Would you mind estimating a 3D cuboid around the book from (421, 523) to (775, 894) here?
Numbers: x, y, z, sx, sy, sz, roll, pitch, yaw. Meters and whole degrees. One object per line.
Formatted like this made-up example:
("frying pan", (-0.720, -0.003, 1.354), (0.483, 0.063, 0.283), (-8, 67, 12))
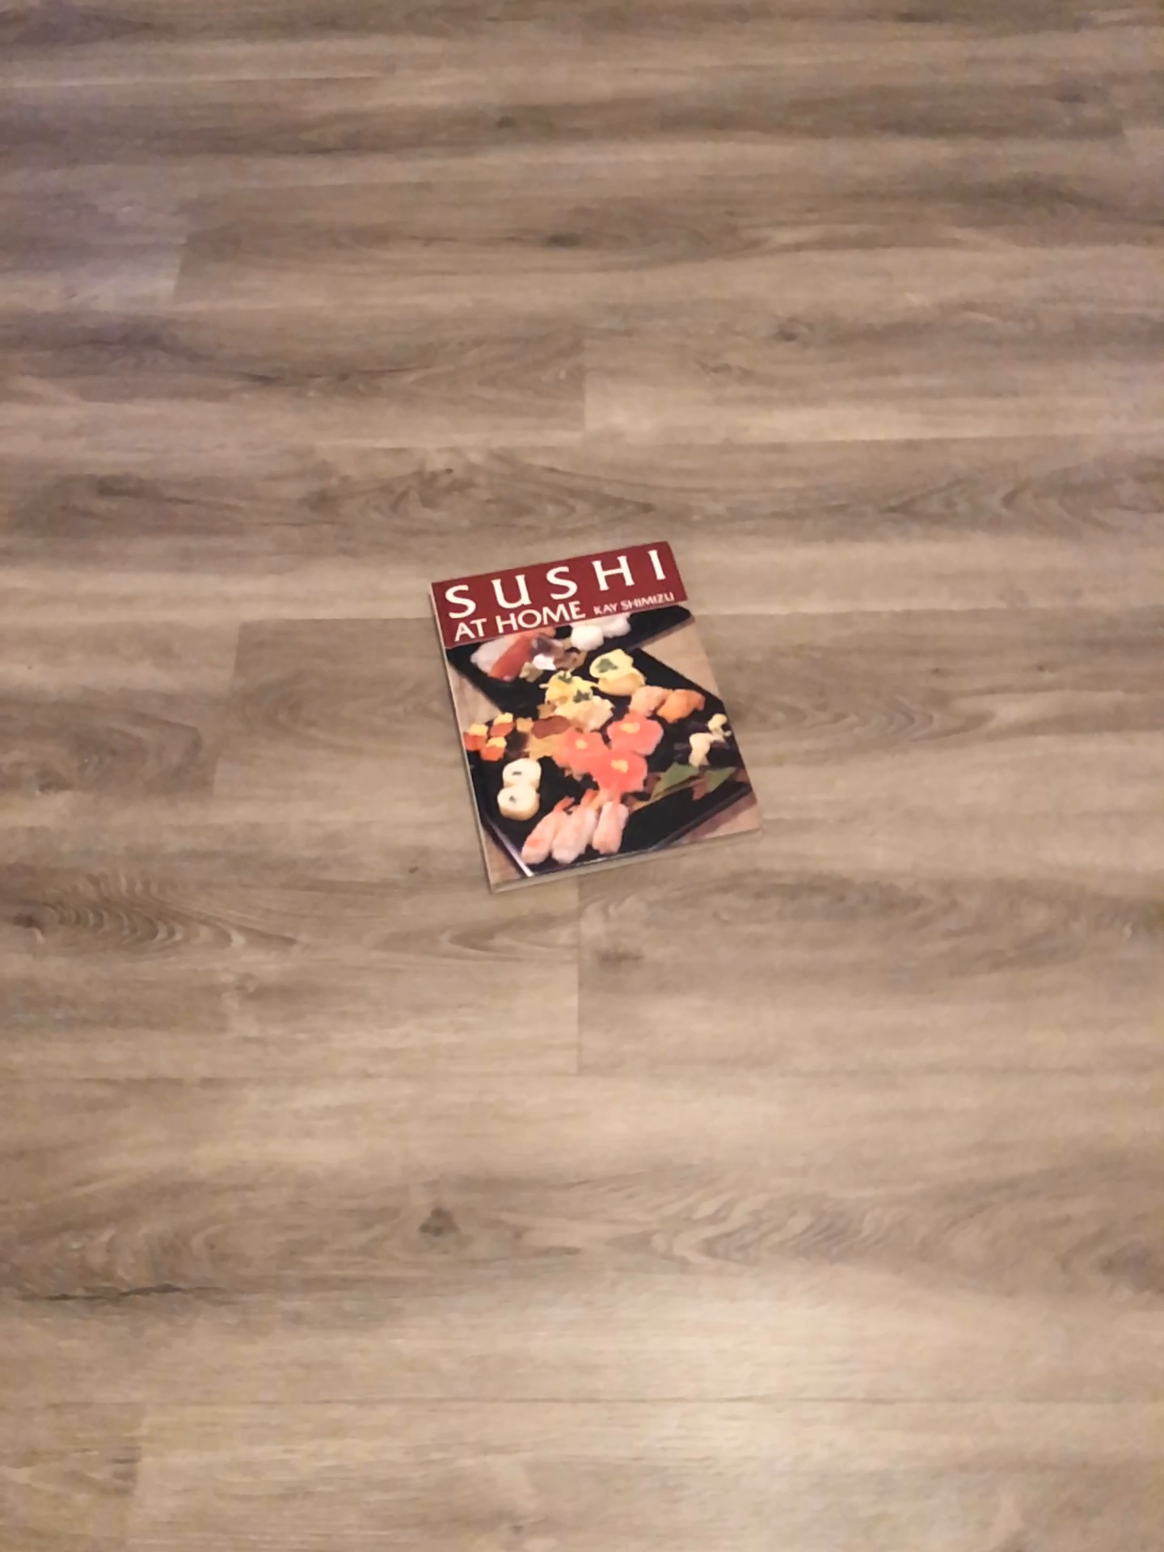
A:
("book", (0.003, -0.056, 0.904), (0.190, 0.030, 0.259), (-12, 58, -5))
